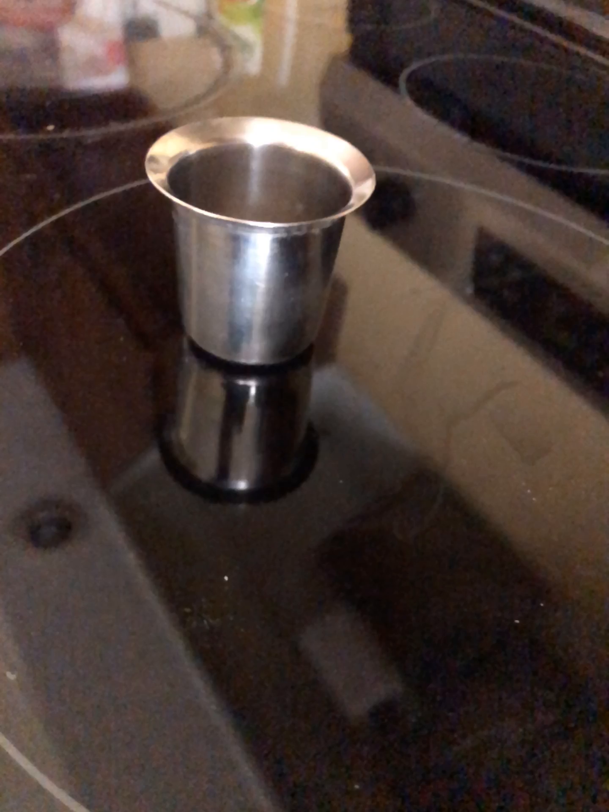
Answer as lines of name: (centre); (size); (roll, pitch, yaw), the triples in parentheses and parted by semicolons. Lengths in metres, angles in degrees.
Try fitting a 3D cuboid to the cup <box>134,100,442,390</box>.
cup: (-0.011, -0.051, 0.210); (0.073, 0.056, 0.067); (5, 44, -5)
